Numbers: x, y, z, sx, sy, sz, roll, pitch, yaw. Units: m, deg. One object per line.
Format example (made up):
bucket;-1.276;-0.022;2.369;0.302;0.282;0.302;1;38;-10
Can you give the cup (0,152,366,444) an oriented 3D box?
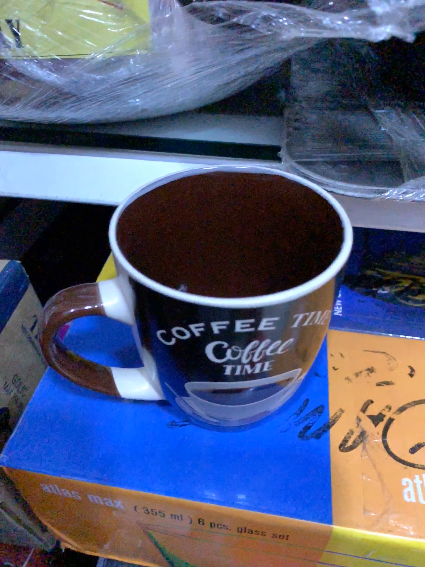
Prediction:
cup;-0.013;0.004;0.179;0.110;0.079;0.071;-6;42;-5
